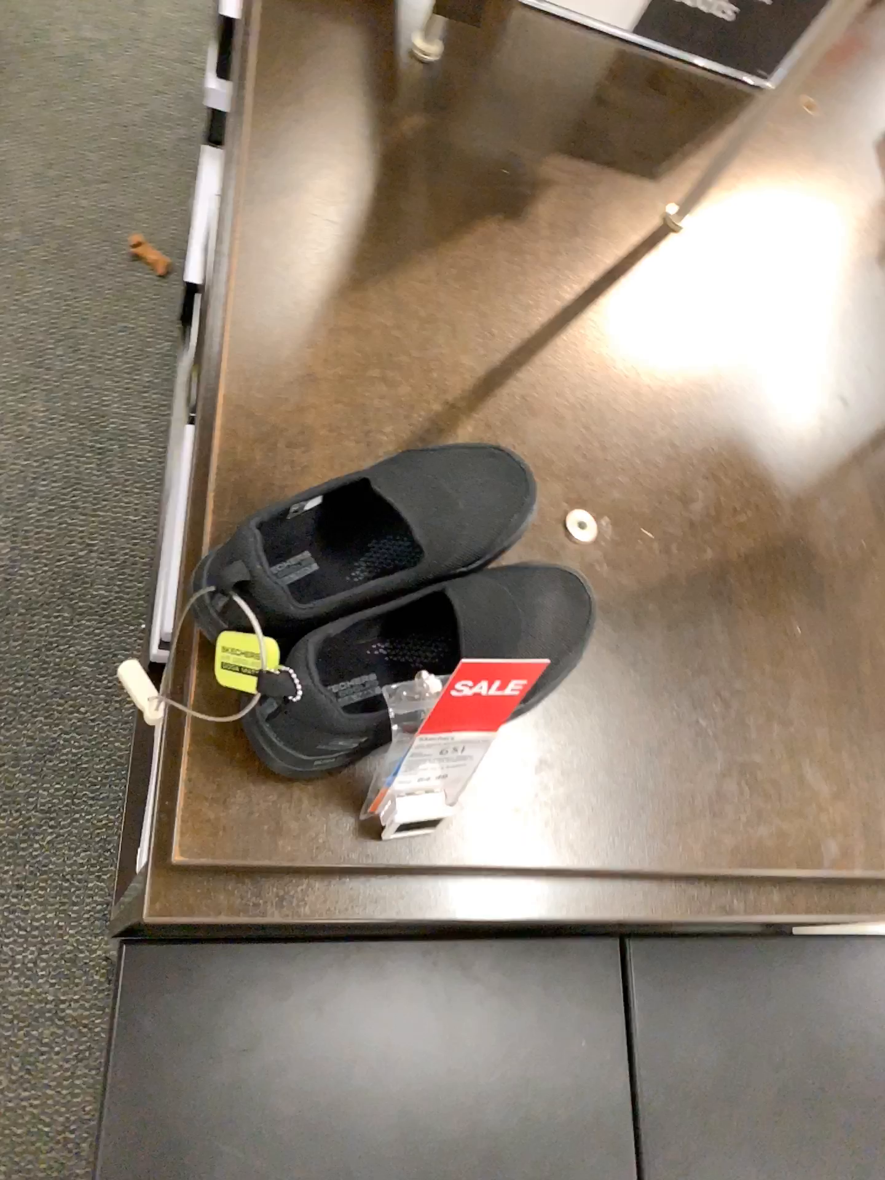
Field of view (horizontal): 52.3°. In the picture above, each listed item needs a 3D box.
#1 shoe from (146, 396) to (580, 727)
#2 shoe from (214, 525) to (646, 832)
[{"bbox_3d":[-0.050,-0.022,0.581,0.245,0.110,0.094,-26,81,-29],"label":"shoe"},{"bbox_3d":[-0.009,0.053,0.565,0.231,0.110,0.094,-19,78,-27],"label":"shoe"}]
